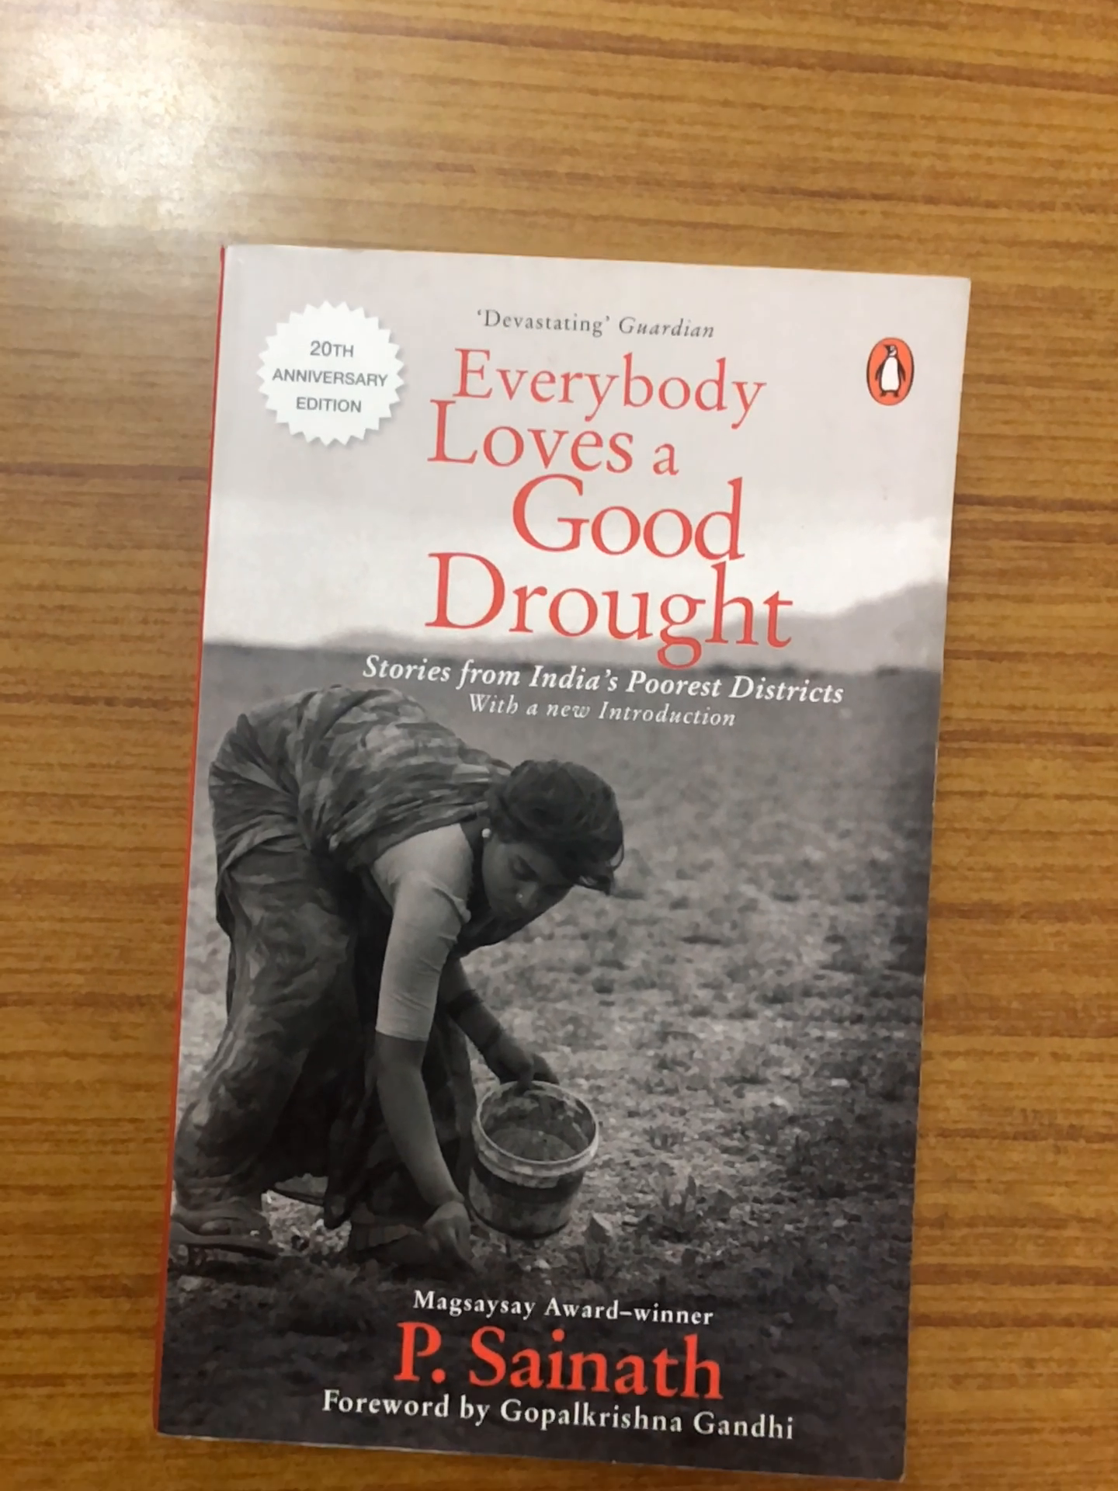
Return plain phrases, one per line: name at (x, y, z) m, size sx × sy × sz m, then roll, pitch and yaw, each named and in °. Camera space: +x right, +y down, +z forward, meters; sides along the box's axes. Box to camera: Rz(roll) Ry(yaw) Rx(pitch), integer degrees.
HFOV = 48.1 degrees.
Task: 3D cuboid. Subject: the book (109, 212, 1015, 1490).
book at (0.001, 0.021, 0.230) m, size 0.140 × 0.040 × 0.210 m, roll 3°, pitch 91°, yaw -3°
